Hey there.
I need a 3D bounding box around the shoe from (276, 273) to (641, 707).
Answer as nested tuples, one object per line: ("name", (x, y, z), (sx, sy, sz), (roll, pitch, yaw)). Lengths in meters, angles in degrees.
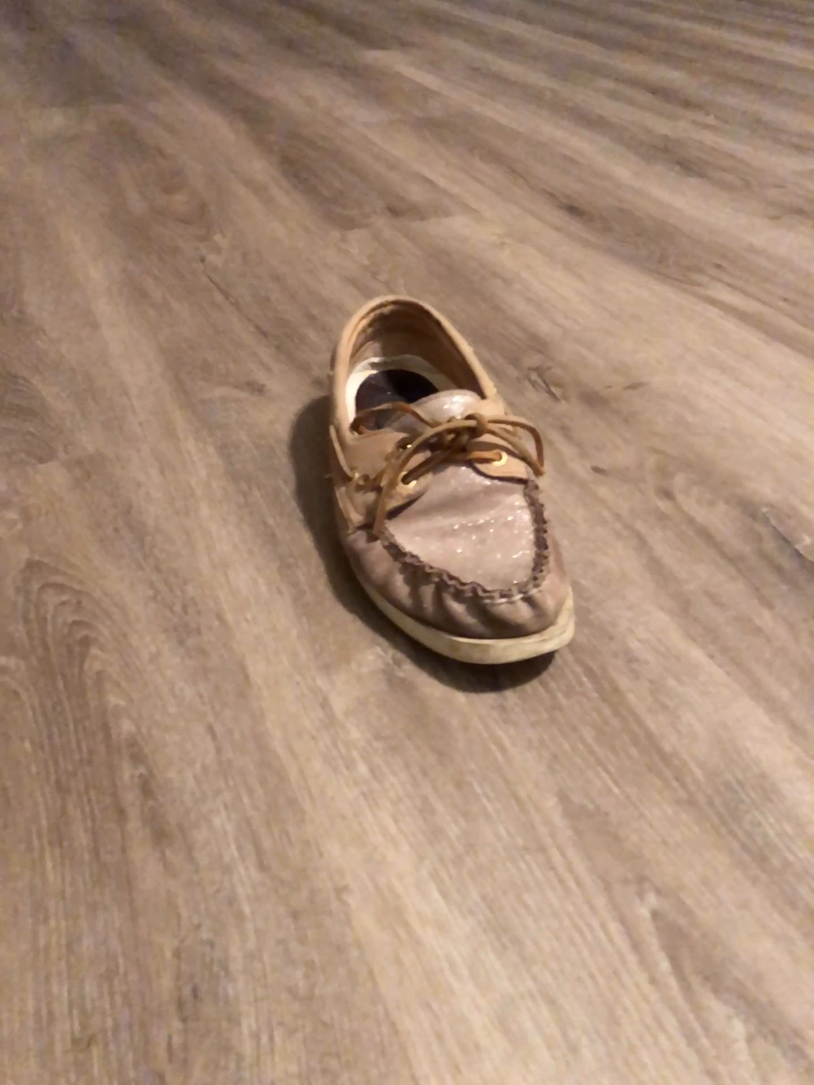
("shoe", (0.005, -0.046, 0.427), (0.100, 0.070, 0.251), (-7, 38, -11))
